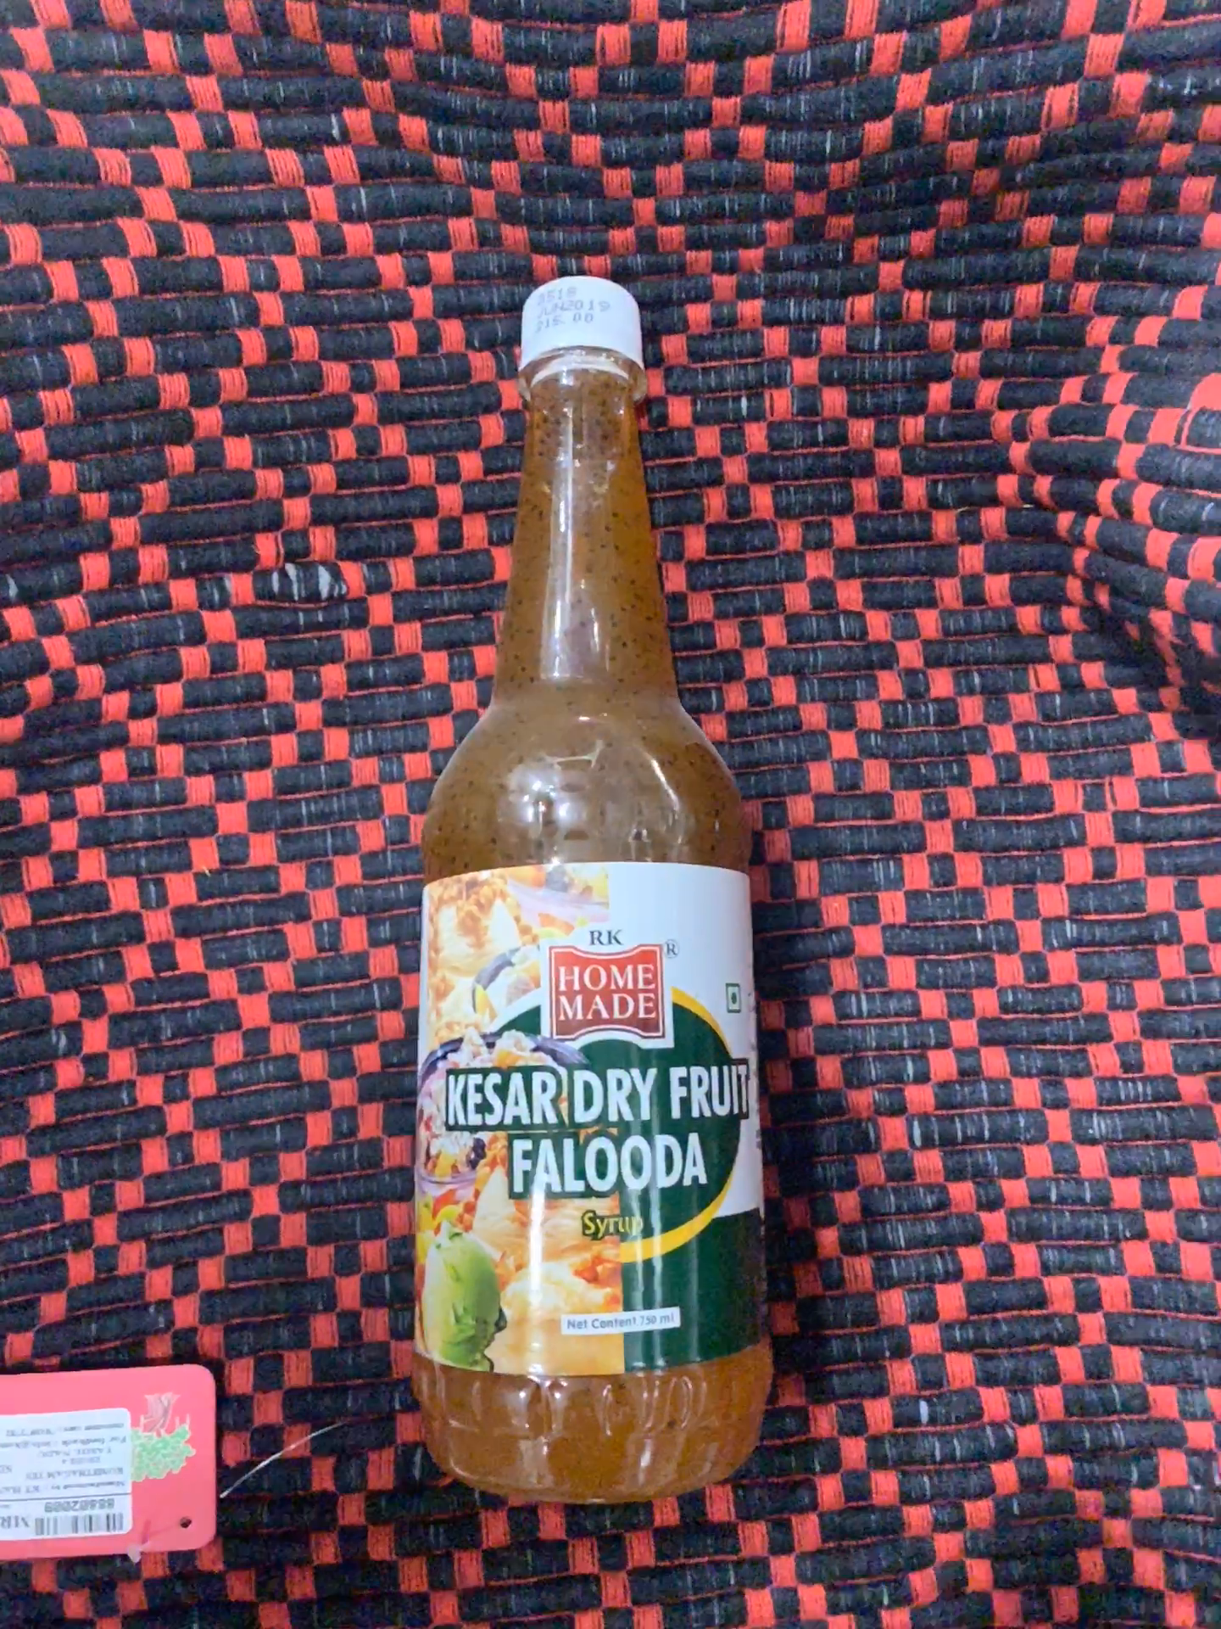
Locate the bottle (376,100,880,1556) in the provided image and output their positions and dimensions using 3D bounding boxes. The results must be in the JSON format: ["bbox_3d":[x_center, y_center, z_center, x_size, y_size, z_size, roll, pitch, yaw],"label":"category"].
[{"bbox_3d":[0.000,-0.005,0.258,0.080,0.070,0.260,-1,80,0],"label":"bottle"}]
